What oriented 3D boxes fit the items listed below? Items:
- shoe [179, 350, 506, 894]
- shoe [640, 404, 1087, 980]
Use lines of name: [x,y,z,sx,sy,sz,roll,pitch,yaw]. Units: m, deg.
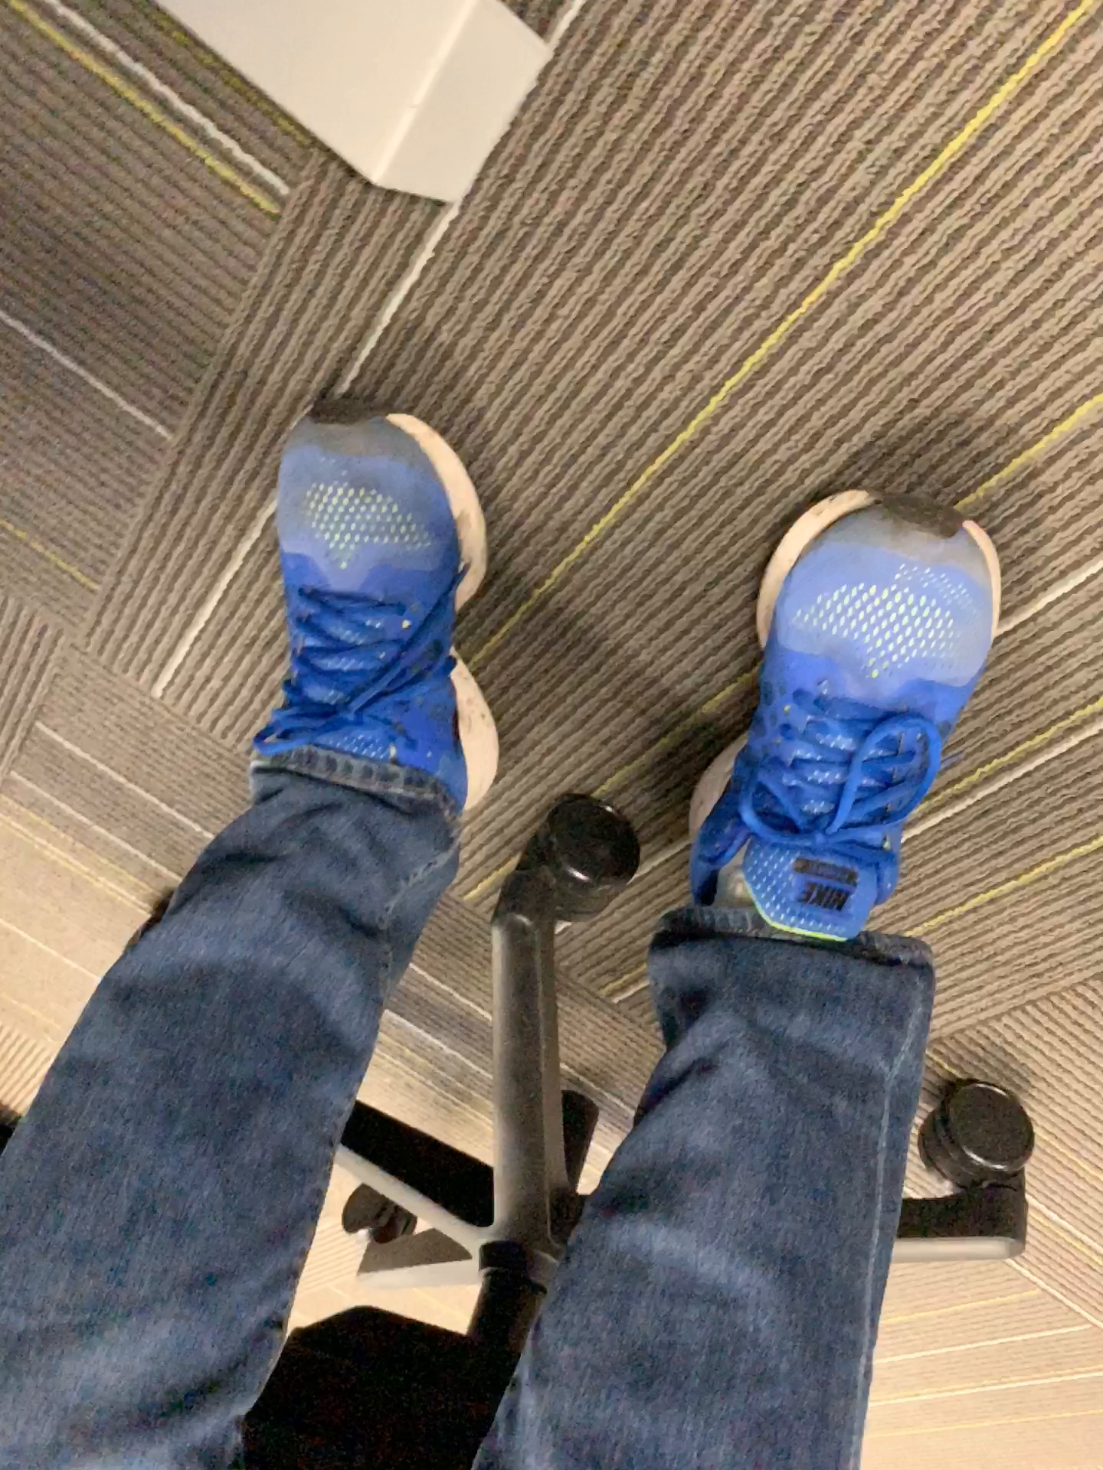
shoe: [-0.096,-0.047,0.607,0.116,0.083,0.280,11,134,12]
shoe: [0.139,-0.005,0.567,0.117,0.083,0.280,18,135,5]
